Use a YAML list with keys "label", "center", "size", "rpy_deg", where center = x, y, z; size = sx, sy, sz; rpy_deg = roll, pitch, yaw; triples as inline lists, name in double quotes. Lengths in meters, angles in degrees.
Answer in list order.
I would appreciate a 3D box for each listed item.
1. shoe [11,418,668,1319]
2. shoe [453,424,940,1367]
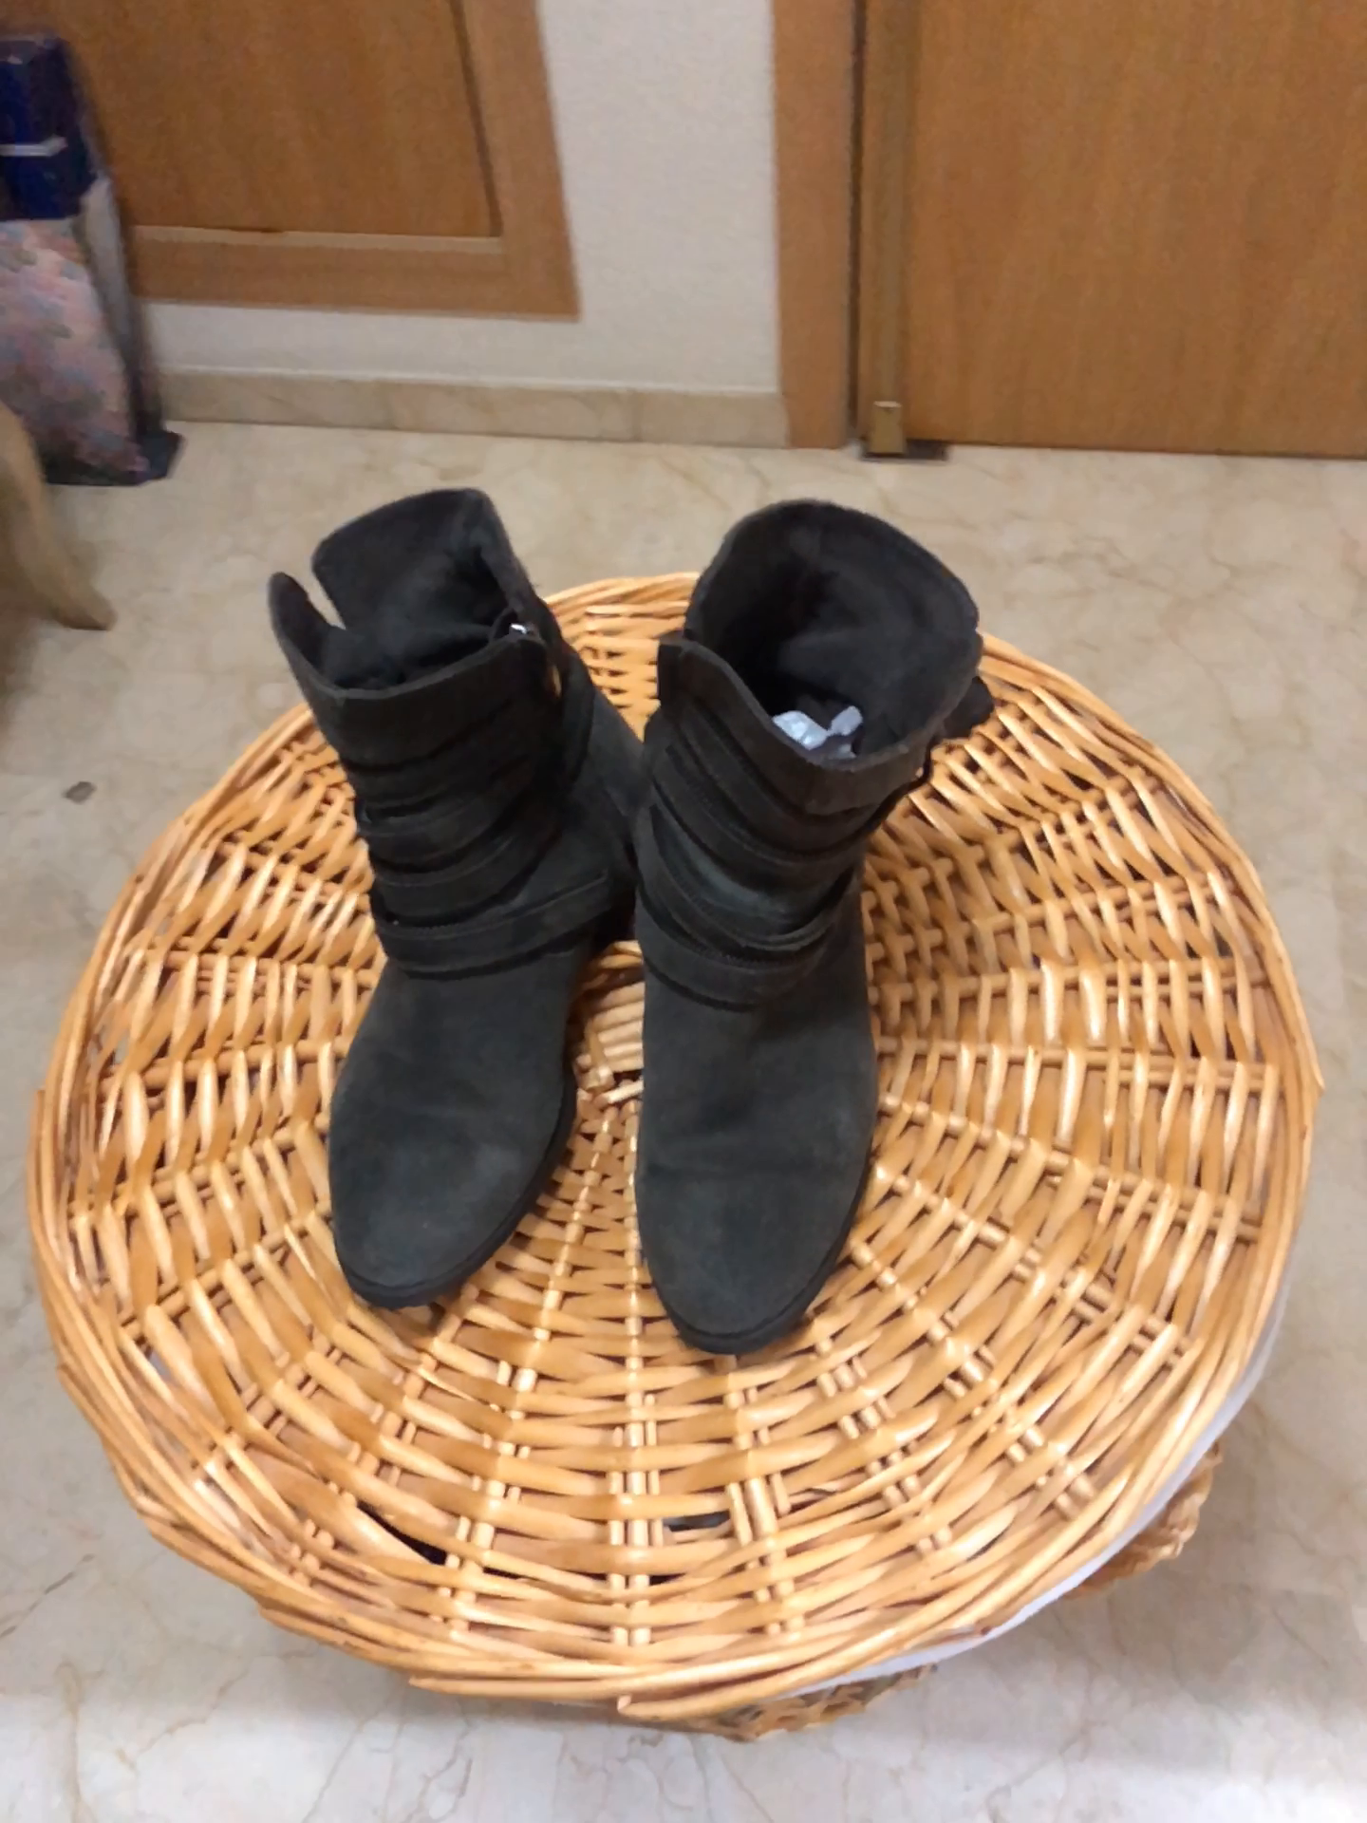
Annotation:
- label: "shoe"
  center: [-0.093, -0.017, 0.532]
  size: [0.110, 0.169, 0.261]
  rpy_deg: [0, 54, 13]
- label: "shoe"
  center: [0.020, -0.009, 0.508]
  size: [0.110, 0.169, 0.261]
  rpy_deg: [4, 55, 7]
